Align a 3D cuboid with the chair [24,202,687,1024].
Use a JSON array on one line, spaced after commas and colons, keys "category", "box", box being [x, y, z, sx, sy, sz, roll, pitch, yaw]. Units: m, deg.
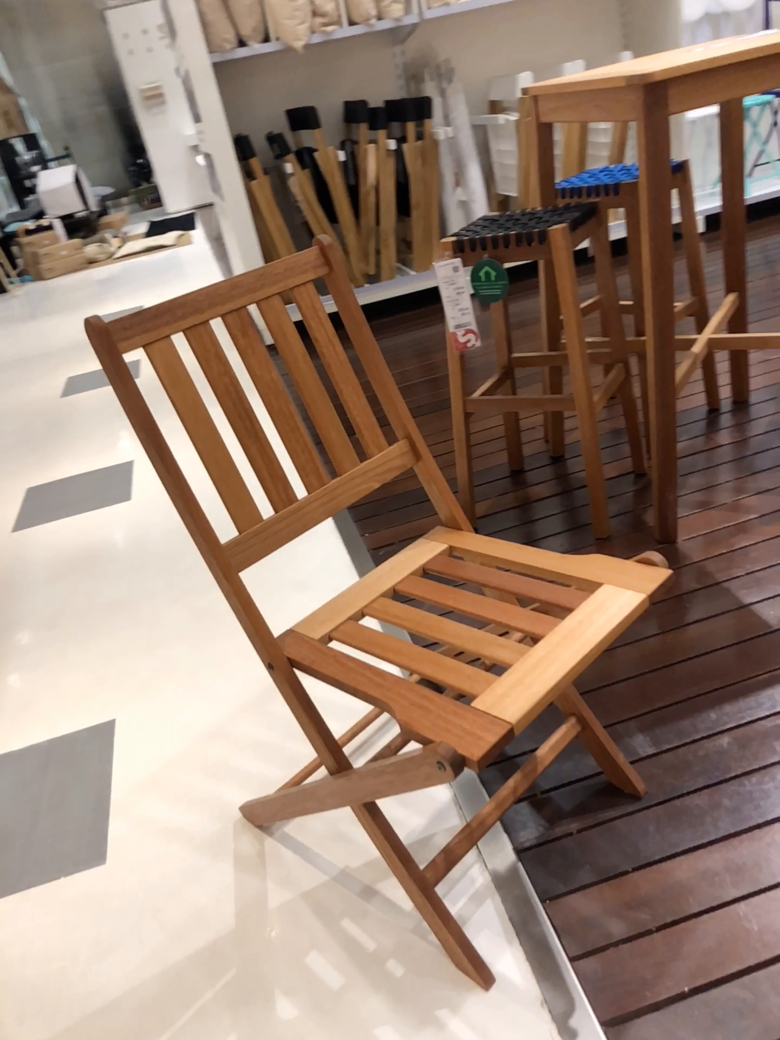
[{"category": "chair", "box": [0.003, 0.073, 1.218, 0.602, 0.863, 0.502, 15, 37, 43]}]
